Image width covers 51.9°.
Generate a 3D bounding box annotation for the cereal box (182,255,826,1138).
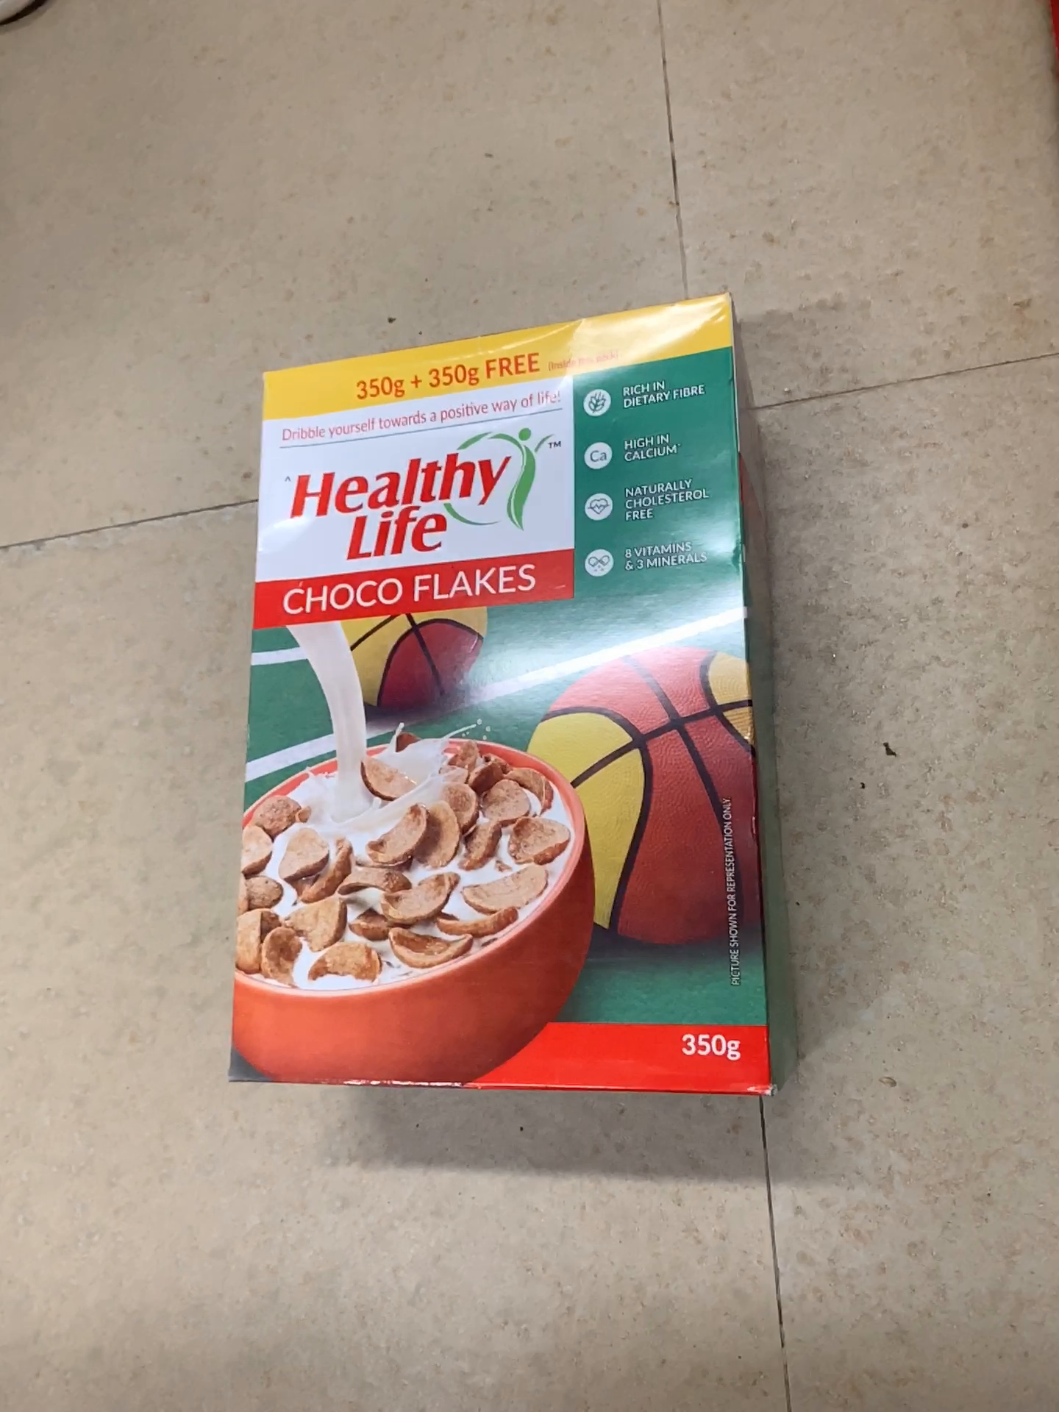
[{"bbox_3d":[-0.003,0.003,0.412,0.200,0.110,0.280,-4,75,16],"label":"cereal box"}]
